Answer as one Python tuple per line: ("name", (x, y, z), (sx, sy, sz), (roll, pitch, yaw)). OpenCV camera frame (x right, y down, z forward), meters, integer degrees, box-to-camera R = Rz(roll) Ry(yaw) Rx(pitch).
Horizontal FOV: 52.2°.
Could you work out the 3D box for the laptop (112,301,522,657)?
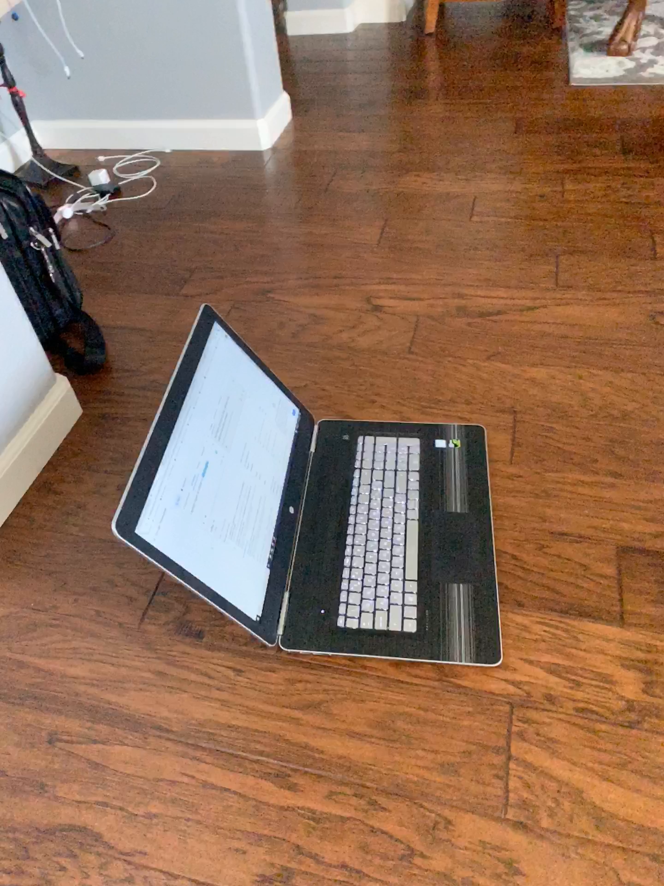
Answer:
("laptop", (0.009, 0.027, 0.917), (0.421, 0.233, 0.413), (2, 46, 6))
